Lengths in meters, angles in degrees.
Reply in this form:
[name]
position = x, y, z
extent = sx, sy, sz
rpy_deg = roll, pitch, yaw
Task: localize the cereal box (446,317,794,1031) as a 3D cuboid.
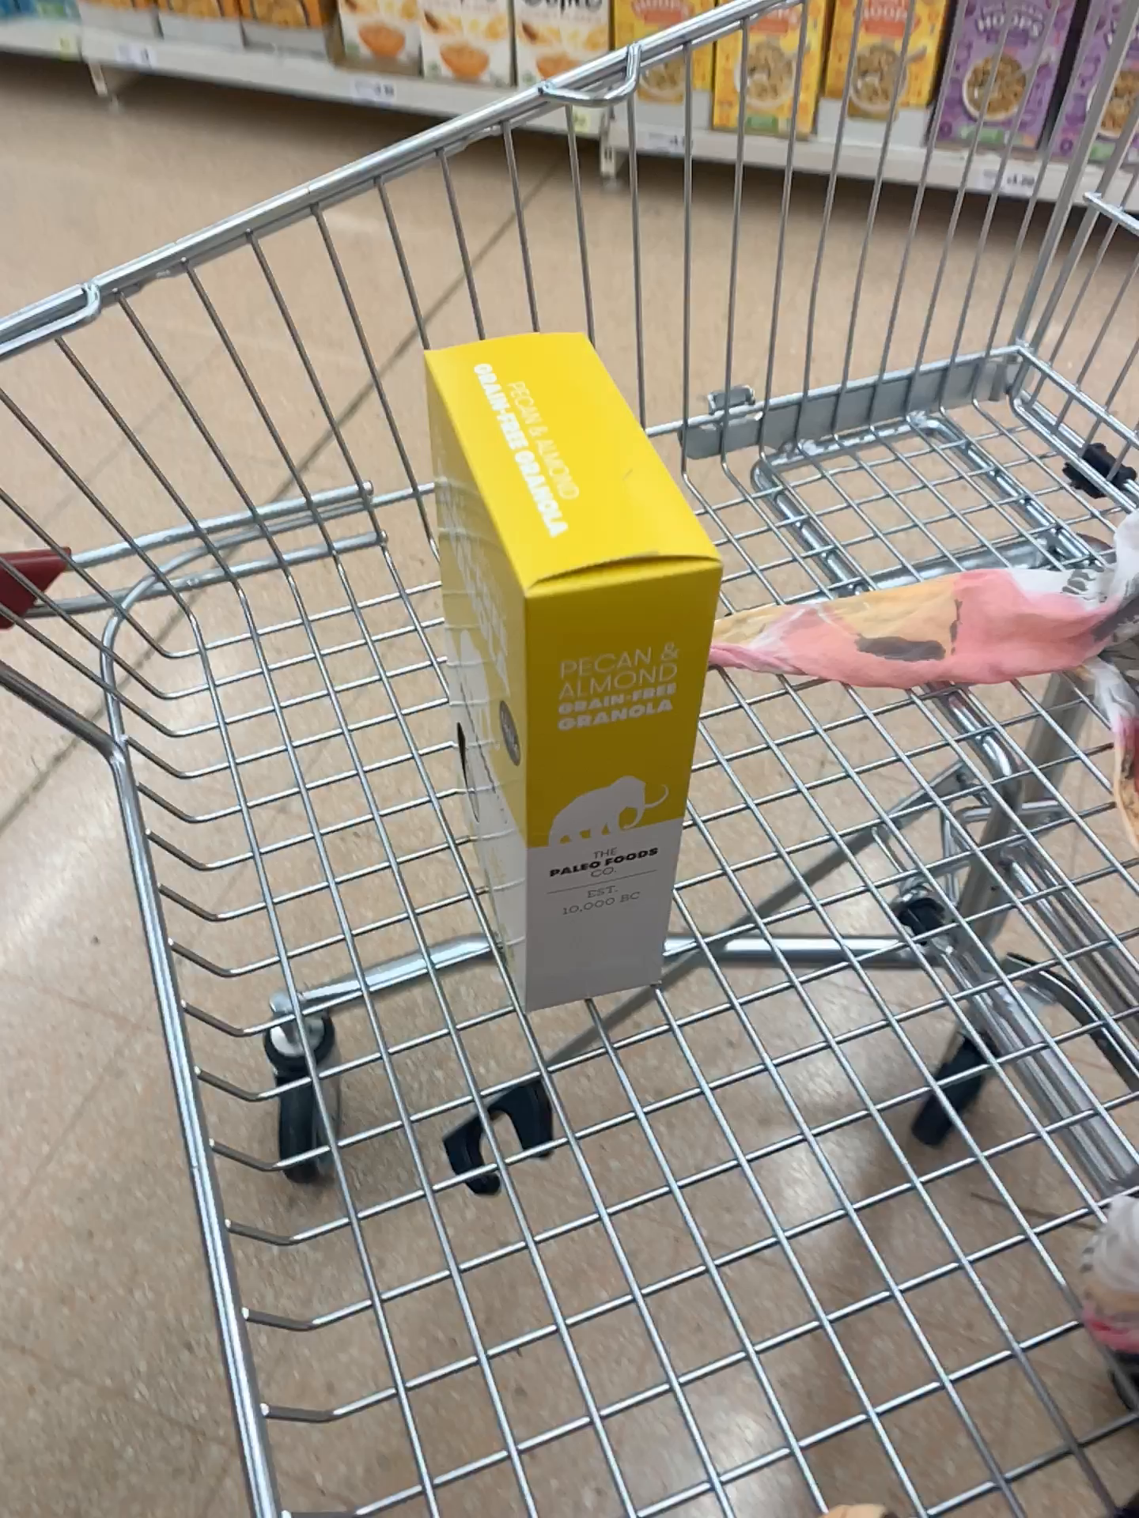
[cereal box]
position = 0.004, -0.020, 0.404
extent = 0.060, 0.208, 0.131
rpy_deg = -11, 50, -13
